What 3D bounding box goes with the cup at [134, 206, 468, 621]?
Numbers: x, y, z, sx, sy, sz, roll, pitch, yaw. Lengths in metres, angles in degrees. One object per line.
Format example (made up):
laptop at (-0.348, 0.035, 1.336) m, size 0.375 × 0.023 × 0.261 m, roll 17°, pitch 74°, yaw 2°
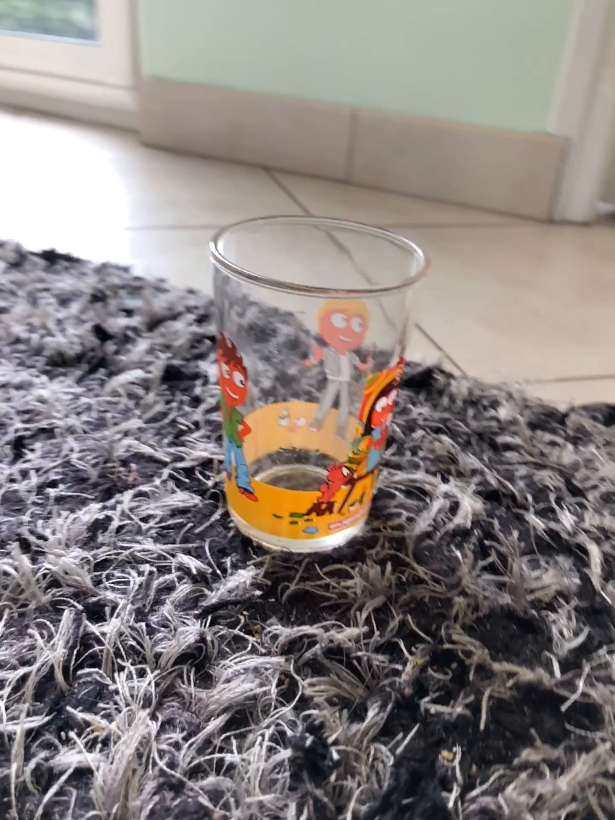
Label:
cup at (-0.003, -0.004, 0.226) m, size 0.070 × 0.099 × 0.070 m, roll 3°, pitch 30°, yaw -2°
